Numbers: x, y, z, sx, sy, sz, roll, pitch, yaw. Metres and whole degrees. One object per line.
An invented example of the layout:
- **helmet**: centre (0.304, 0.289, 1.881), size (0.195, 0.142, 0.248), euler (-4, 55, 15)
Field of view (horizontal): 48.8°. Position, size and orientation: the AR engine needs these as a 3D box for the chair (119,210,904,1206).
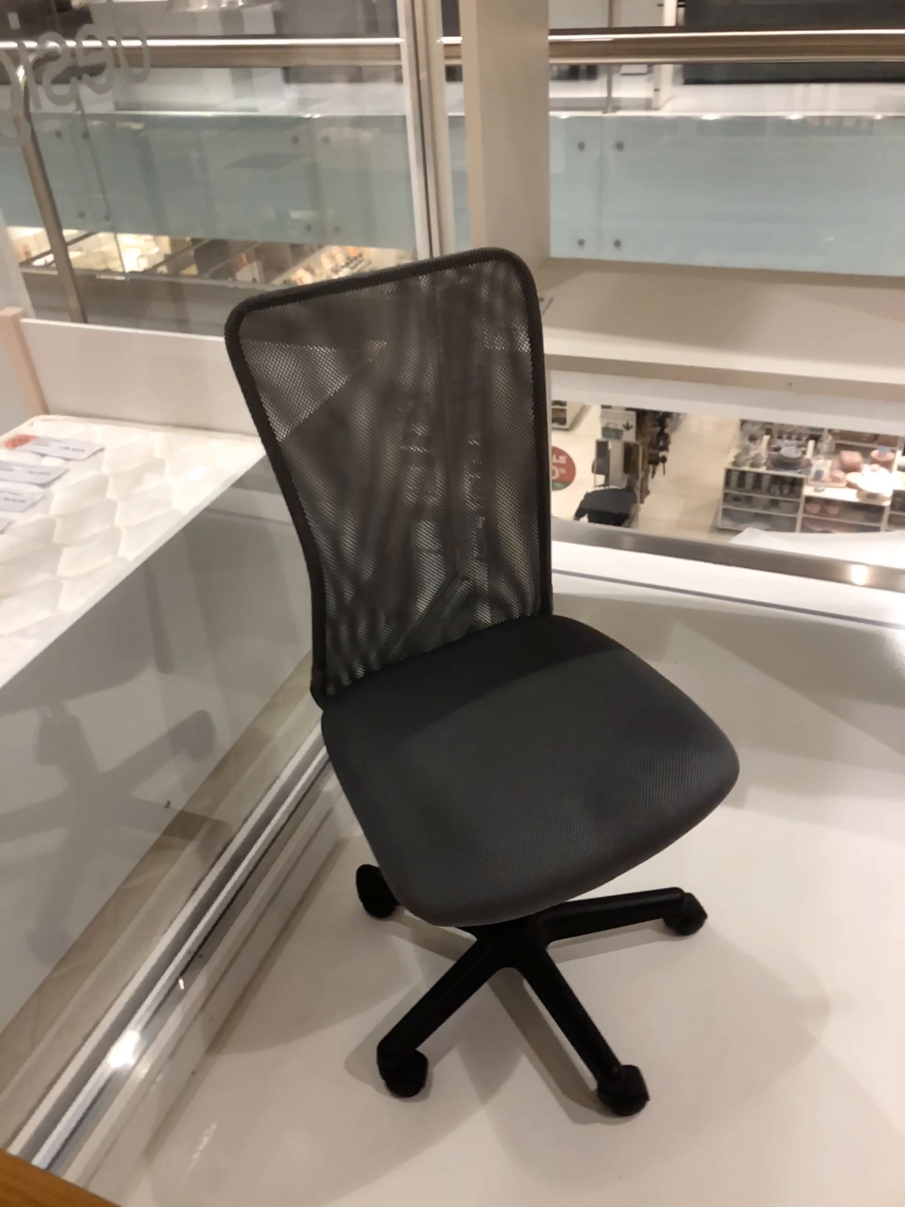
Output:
- **chair**: centre (0.076, 0.123, 1.204), size (0.581, 0.933, 0.604), euler (-20, 38, -21)
